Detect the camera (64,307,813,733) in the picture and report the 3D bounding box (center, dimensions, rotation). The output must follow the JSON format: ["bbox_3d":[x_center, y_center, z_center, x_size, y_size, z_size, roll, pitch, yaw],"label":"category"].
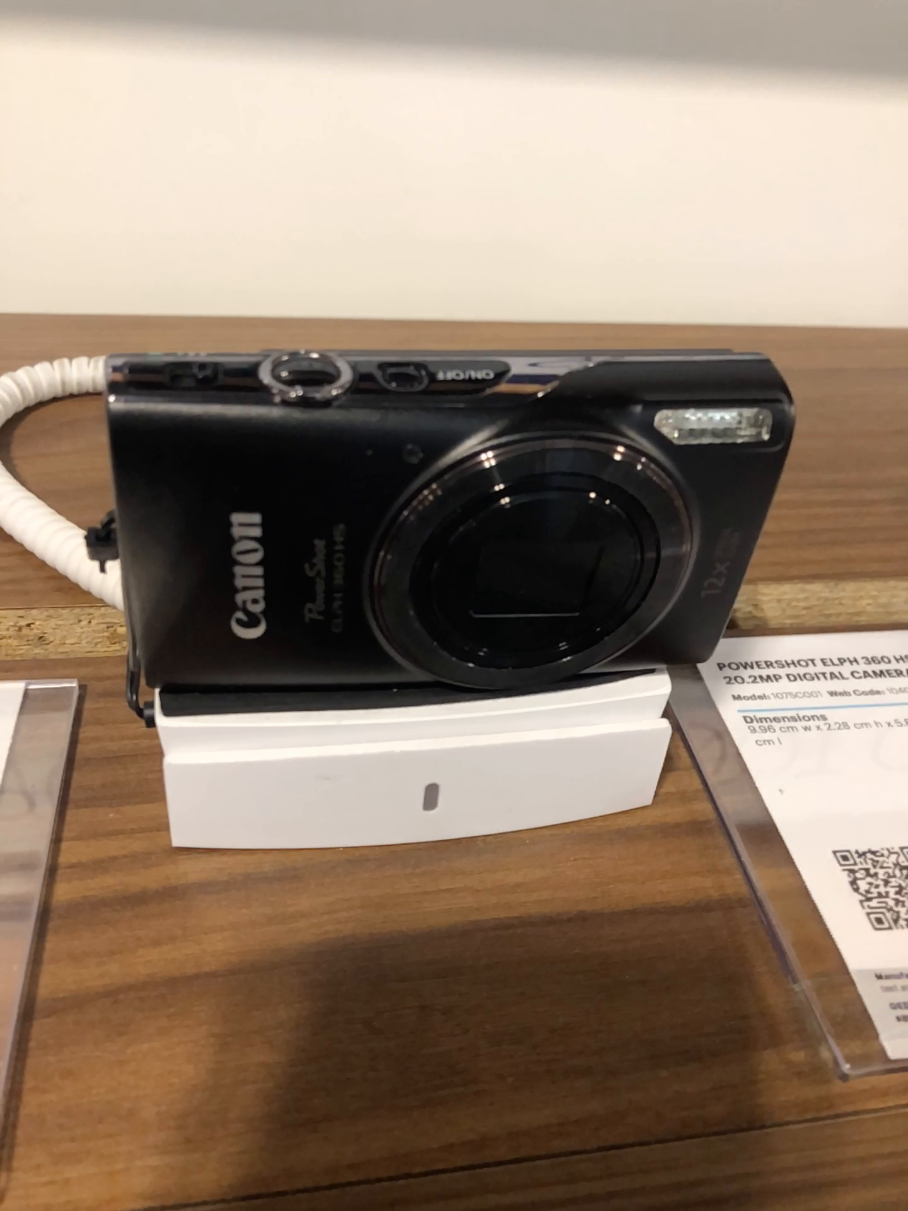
[{"bbox_3d":[-0.003,-0.014,0.161,0.100,0.056,0.030,-3,37,-11],"label":"camera"}]
